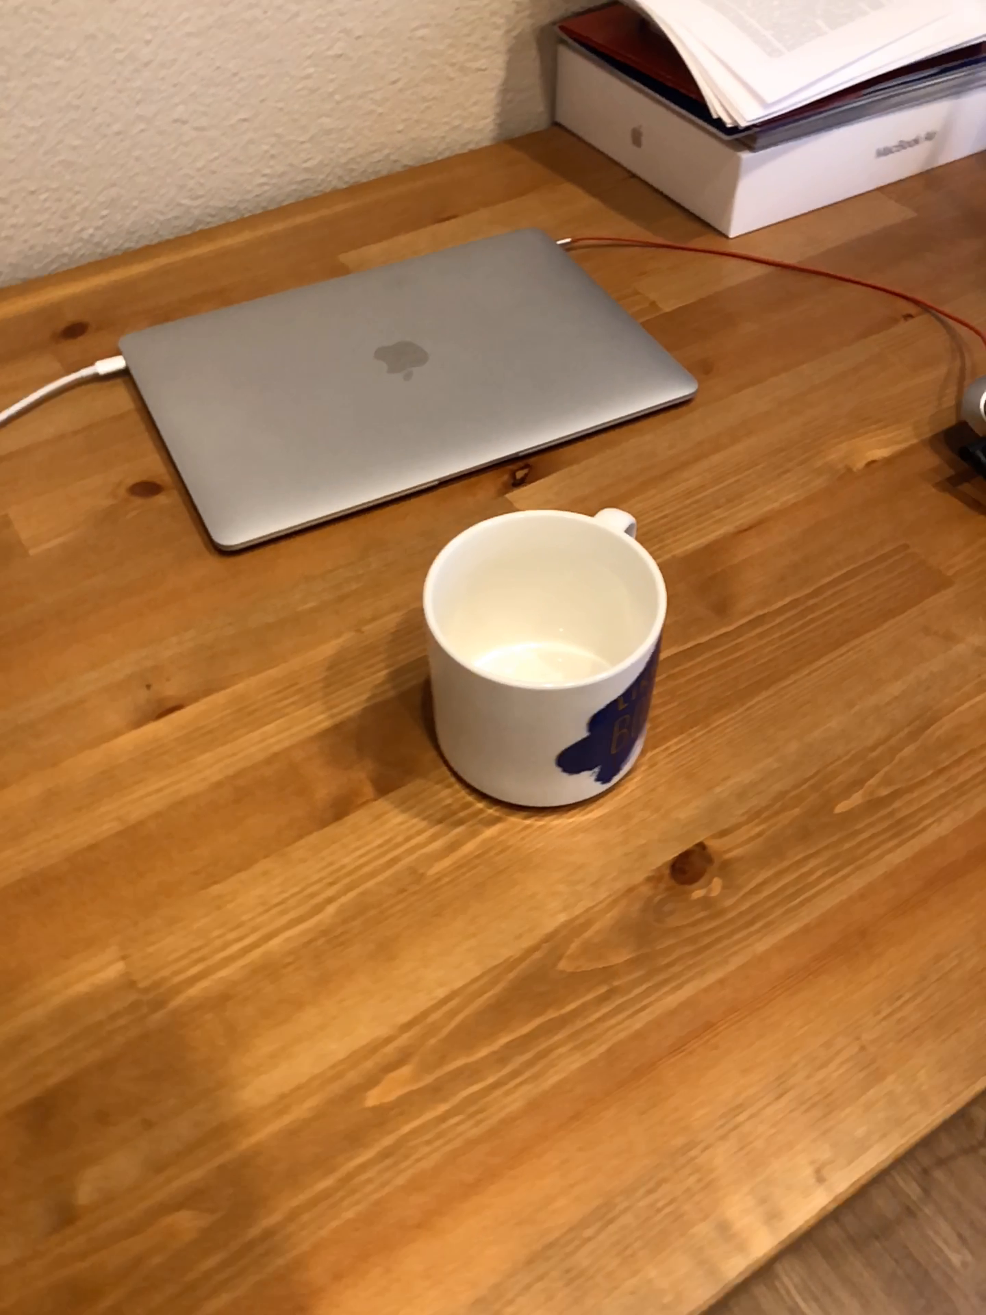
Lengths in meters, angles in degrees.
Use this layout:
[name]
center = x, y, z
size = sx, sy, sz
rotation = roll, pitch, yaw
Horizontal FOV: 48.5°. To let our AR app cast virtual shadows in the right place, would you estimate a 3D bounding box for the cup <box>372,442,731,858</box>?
[cup]
center = 0.028, -0.007, 0.472
size = 0.100, 0.090, 0.130
rotation = 19, 52, 17
